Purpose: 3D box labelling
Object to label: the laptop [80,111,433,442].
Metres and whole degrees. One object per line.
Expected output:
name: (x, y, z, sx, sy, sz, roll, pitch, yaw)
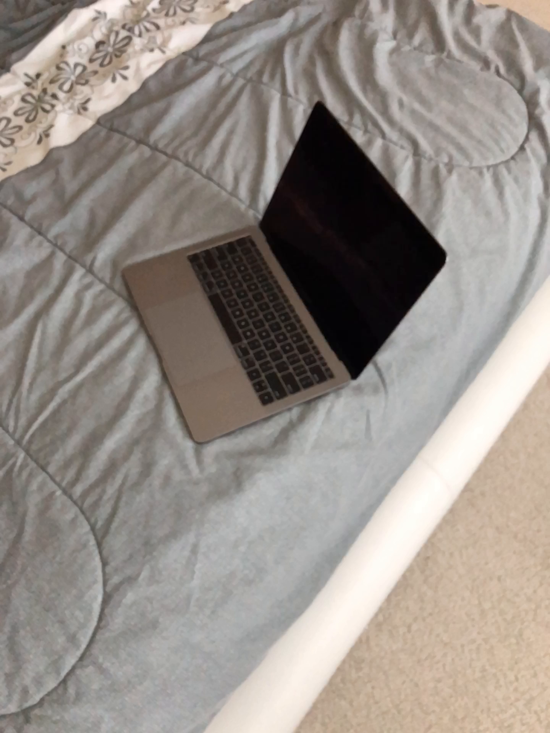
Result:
laptop: (-0.024, -0.113, 0.715, 0.281, 0.159, 0.280, -22, 60, -11)
